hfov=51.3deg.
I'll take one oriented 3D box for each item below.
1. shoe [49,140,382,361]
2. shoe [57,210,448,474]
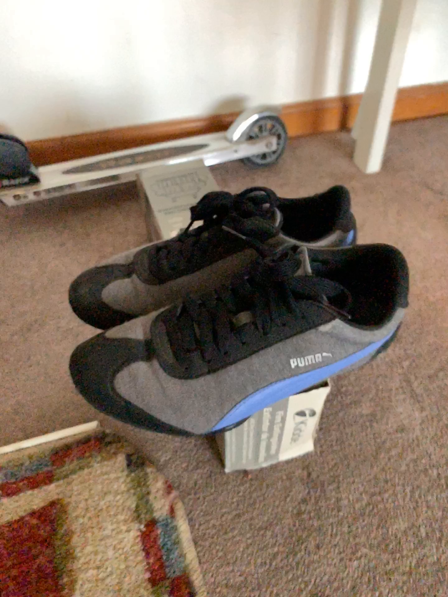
[{"bbox_3d":[-0.010,-0.047,0.393,0.240,0.077,0.111,-16,47,-9],"label":"shoe"},{"bbox_3d":[0.022,0.021,0.333,0.250,0.077,0.101,-14,42,-11],"label":"shoe"}]
